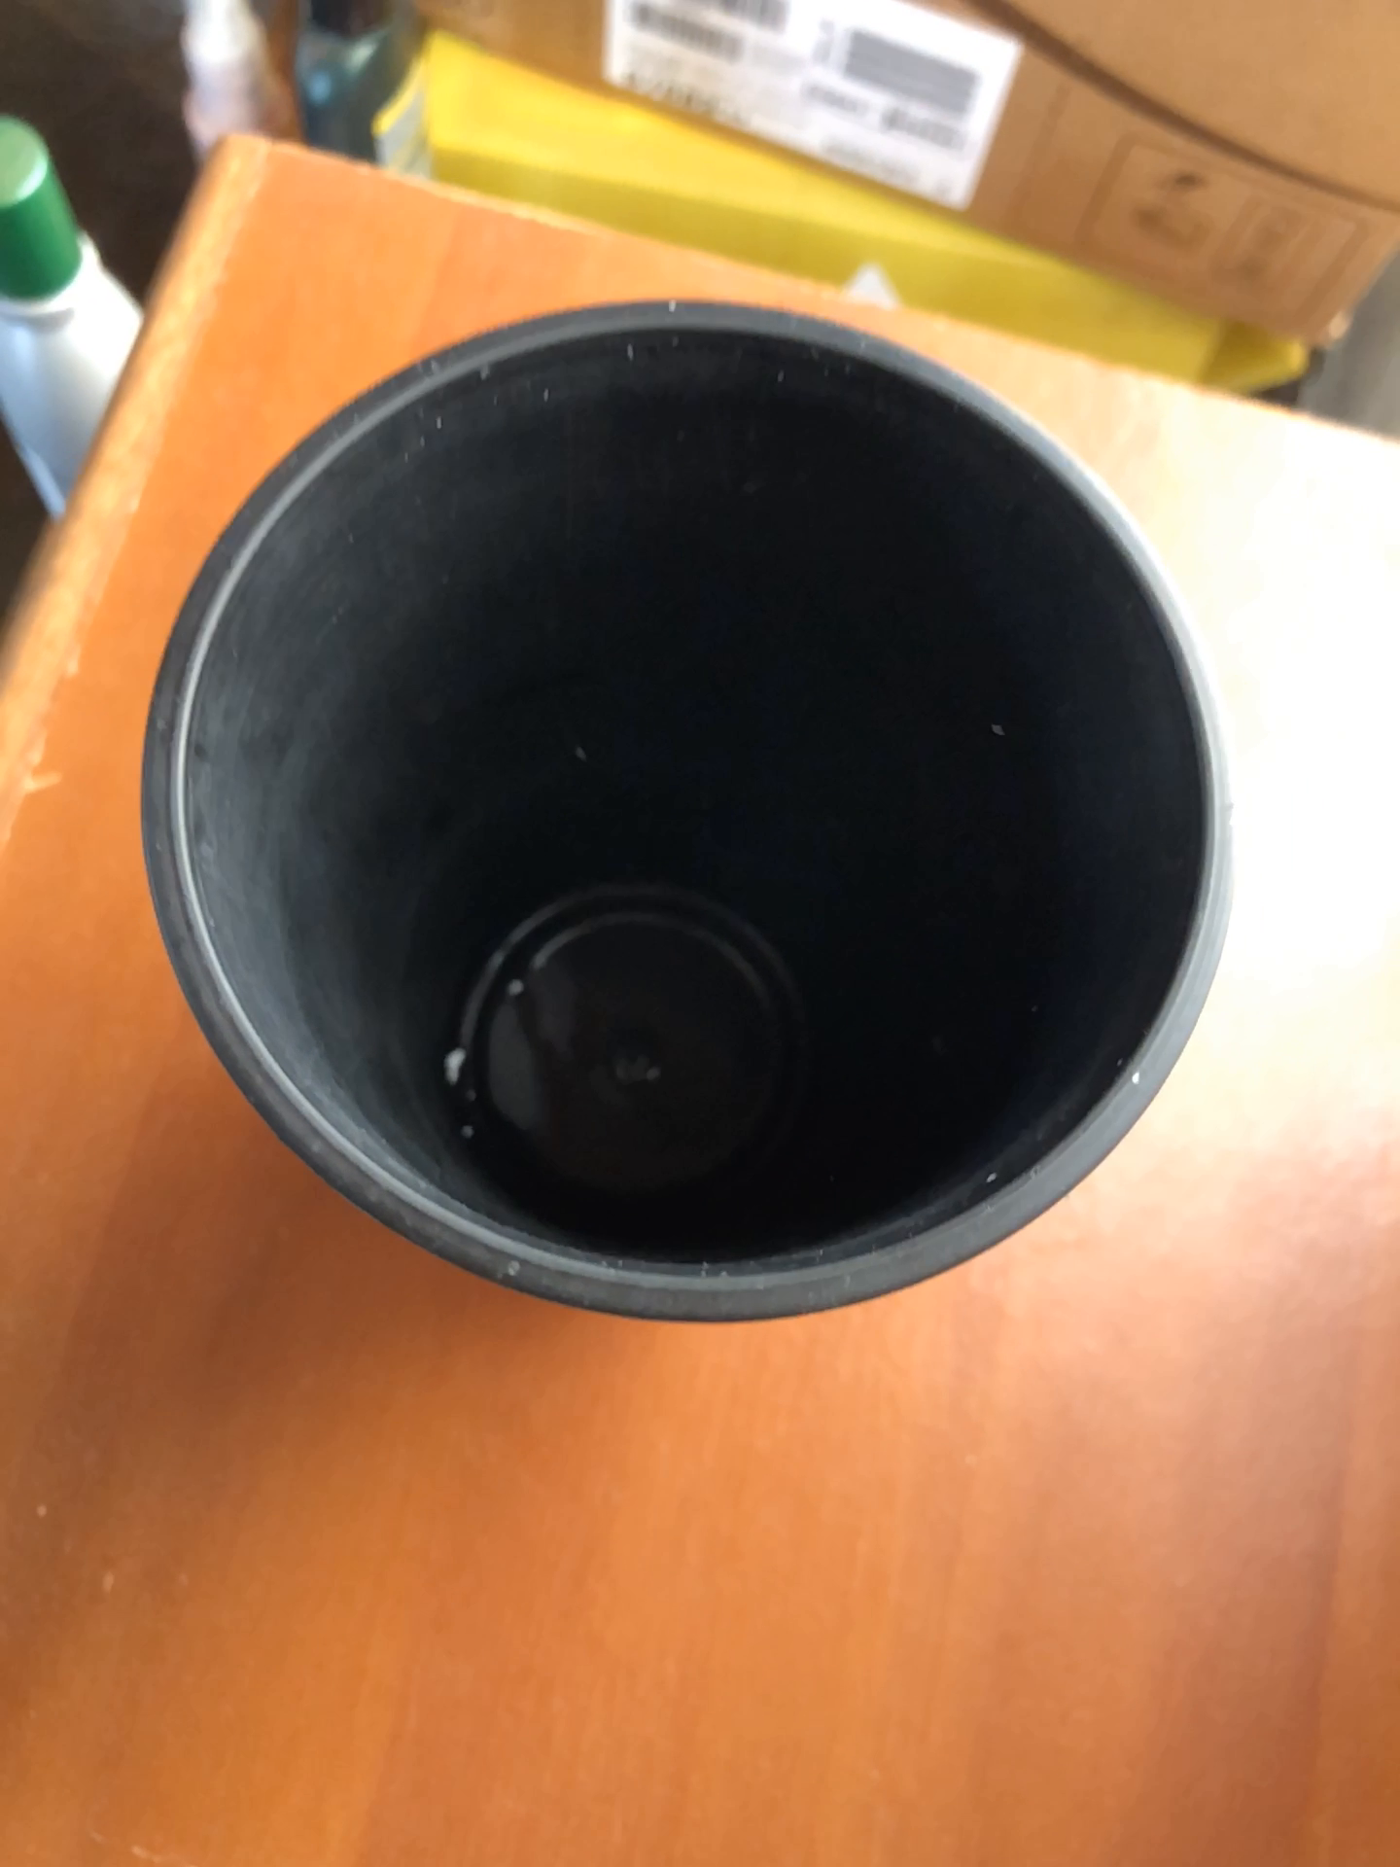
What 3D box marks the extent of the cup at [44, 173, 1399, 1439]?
[{"bbox_3d":[-0.002,0.001,0.203,0.100,0.140,0.090,-19,76,-12],"label":"cup"}]
